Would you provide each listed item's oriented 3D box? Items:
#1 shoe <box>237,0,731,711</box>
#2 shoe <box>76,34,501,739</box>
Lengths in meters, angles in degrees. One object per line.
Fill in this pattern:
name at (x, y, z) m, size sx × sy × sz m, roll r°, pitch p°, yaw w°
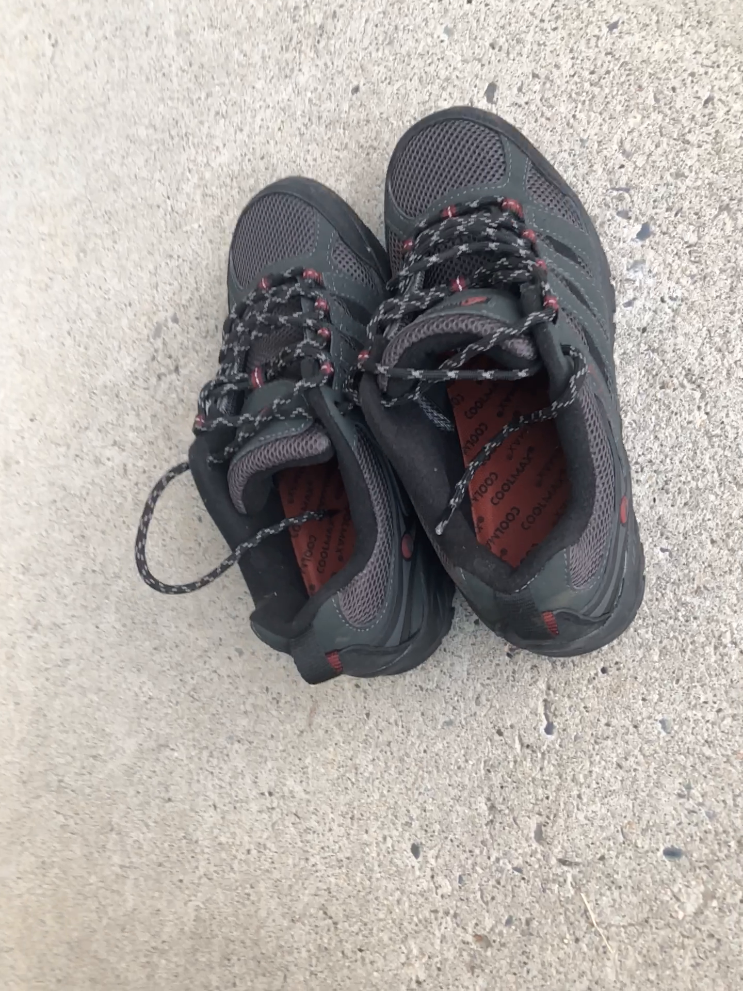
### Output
shoe at (0.047, -0.073, 0.368) m, size 0.120 × 0.110 × 0.300 m, roll -19°, pitch 75°, yaw 24°
shoe at (-0.046, -0.048, 0.418) m, size 0.120 × 0.110 × 0.303 m, roll -19°, pitch 75°, yaw 24°
